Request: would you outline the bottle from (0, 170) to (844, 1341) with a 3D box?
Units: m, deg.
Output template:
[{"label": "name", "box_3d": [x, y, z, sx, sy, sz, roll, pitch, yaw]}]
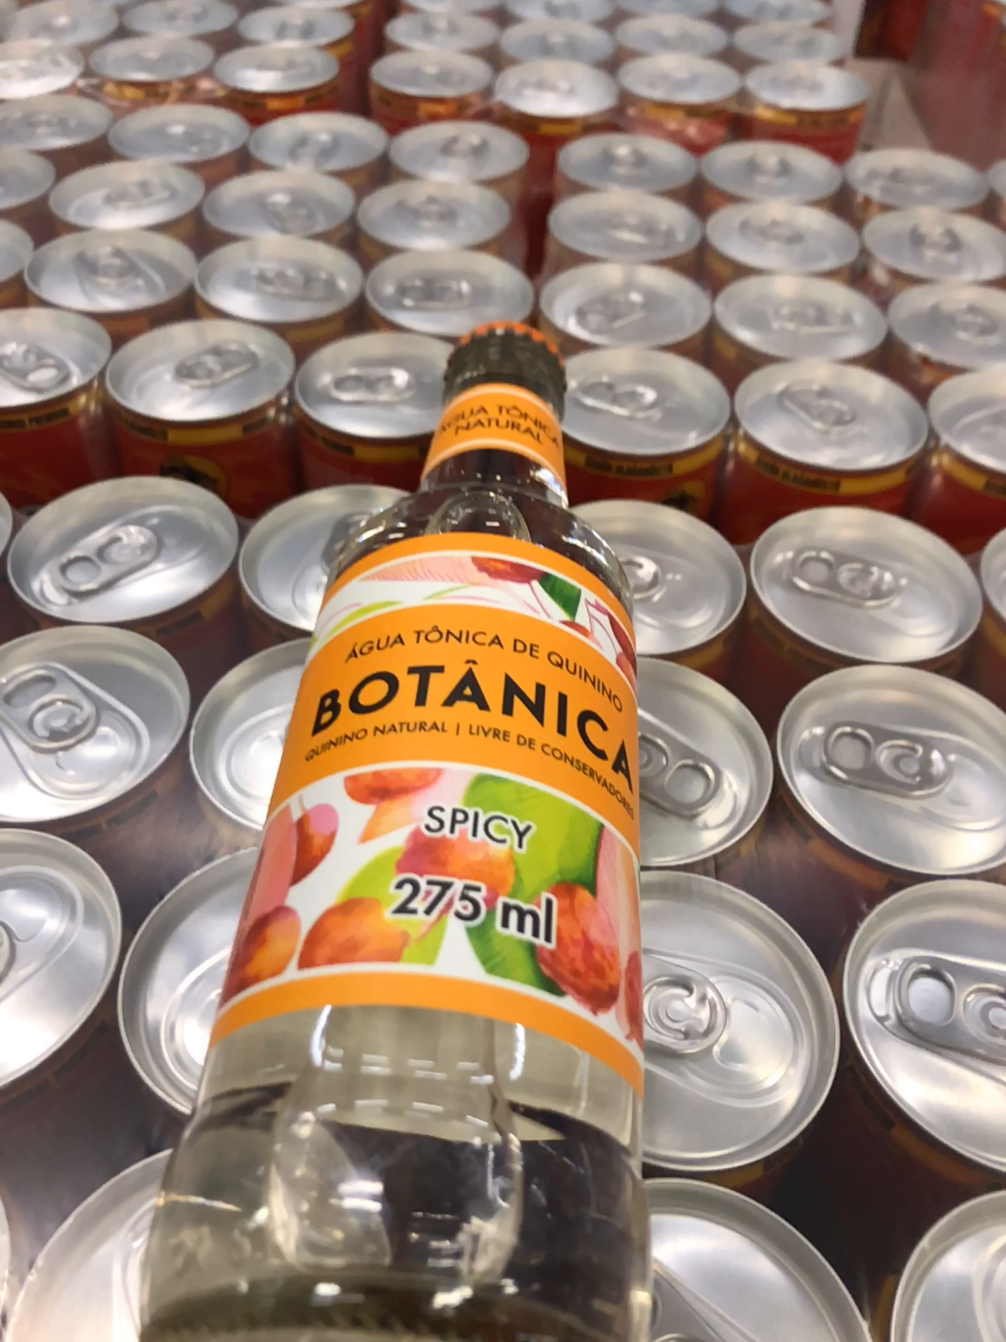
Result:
[{"label": "bottle", "box_3d": [-0.001, -0.004, 0.181, 0.070, 0.050, 0.211, 4, 49, 1]}]
